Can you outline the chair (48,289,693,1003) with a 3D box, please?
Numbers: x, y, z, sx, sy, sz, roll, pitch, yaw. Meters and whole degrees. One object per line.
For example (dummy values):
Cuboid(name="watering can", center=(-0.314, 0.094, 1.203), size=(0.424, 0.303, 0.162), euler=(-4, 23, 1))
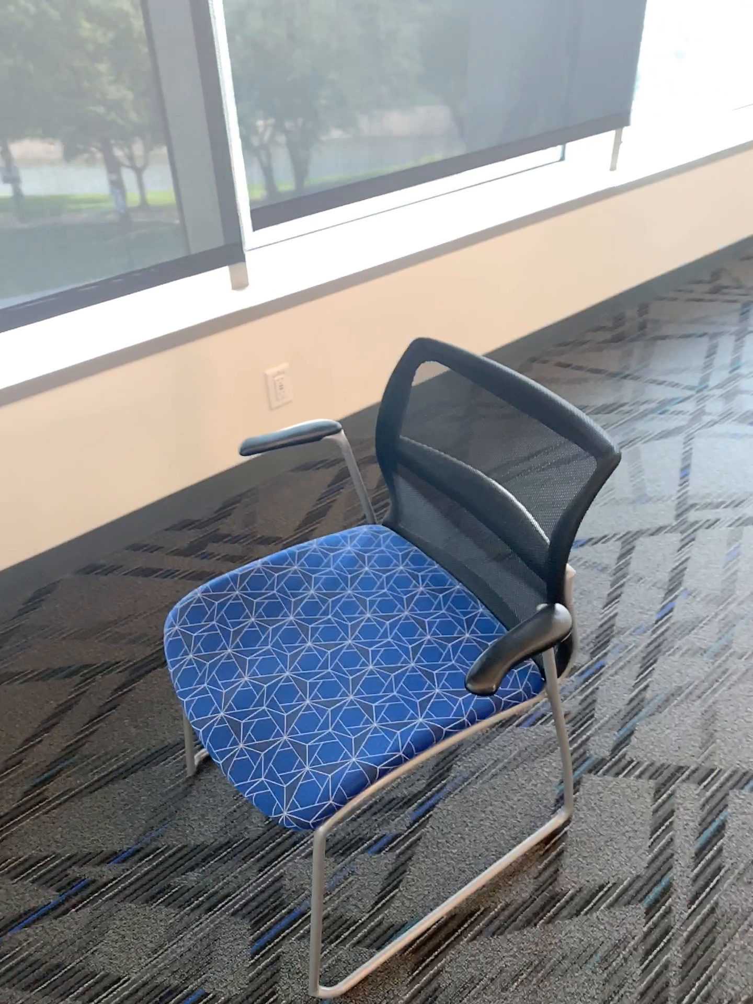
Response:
Cuboid(name="chair", center=(-0.019, 0.200, 1.162), size=(0.582, 0.763, 0.533), euler=(-23, 42, -26))
